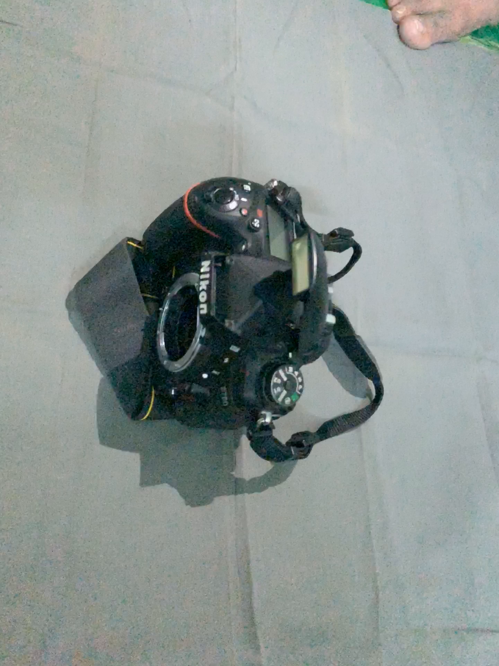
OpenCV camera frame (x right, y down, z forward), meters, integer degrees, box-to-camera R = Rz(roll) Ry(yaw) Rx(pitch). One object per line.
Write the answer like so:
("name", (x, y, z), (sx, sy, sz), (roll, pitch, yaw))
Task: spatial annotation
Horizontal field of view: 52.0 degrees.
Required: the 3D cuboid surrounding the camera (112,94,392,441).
("camera", (-0.006, -0.020, 0.293), (0.101, 0.125, 0.140), (11, 68, -25))
